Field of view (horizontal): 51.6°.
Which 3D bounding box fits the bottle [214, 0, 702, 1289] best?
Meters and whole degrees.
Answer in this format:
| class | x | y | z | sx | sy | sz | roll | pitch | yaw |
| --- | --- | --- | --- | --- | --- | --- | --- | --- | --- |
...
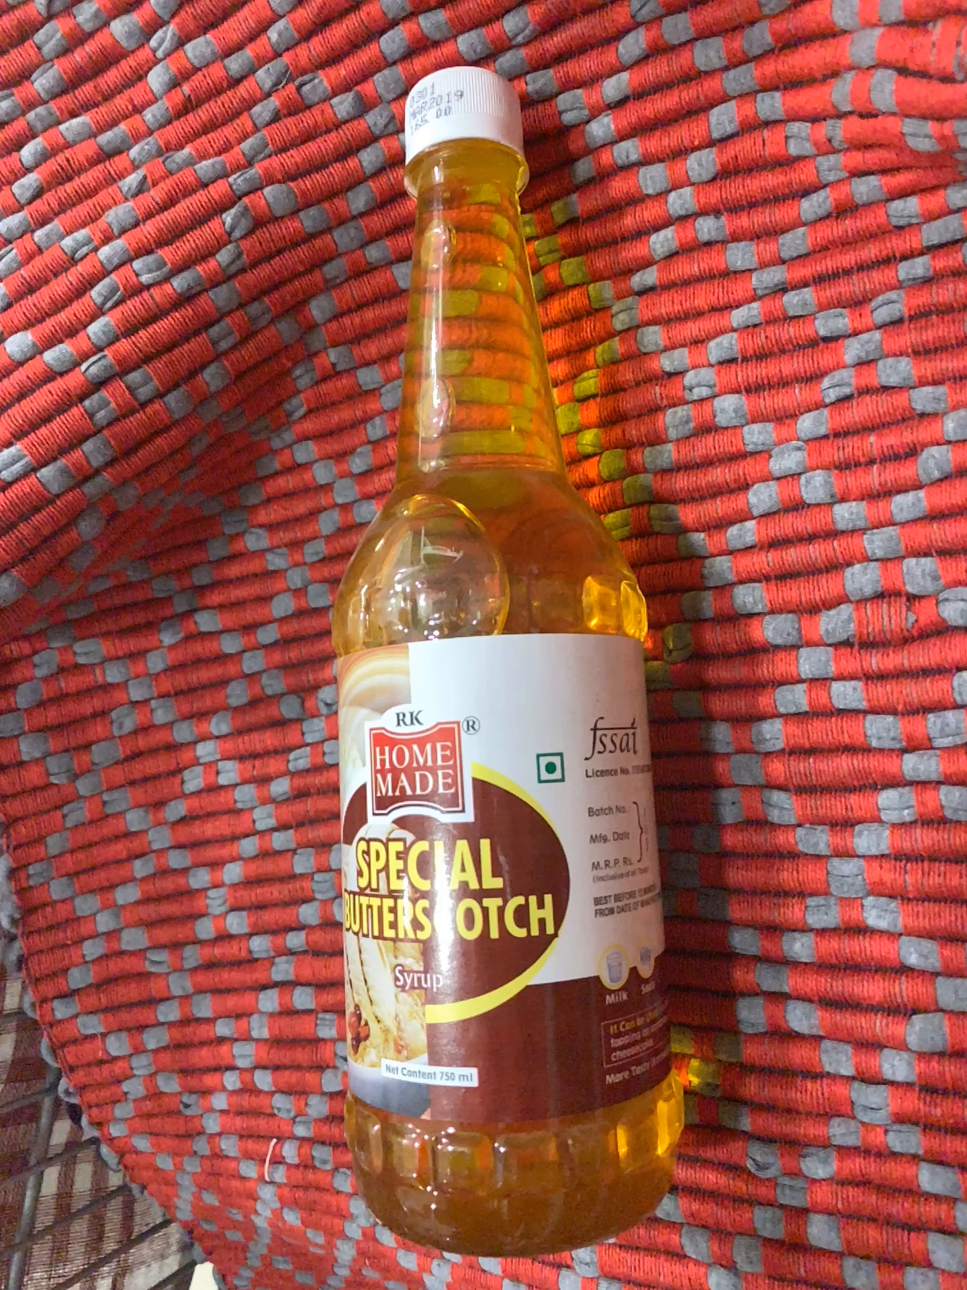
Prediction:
| class | x | y | z | sx | sy | sz | roll | pitch | yaw |
| --- | --- | --- | --- | --- | --- | --- | --- | --- | --- |
| bottle | -0.006 | -0.003 | 0.229 | 0.080 | 0.060 | 0.260 | -8 | 77 | 35 |
